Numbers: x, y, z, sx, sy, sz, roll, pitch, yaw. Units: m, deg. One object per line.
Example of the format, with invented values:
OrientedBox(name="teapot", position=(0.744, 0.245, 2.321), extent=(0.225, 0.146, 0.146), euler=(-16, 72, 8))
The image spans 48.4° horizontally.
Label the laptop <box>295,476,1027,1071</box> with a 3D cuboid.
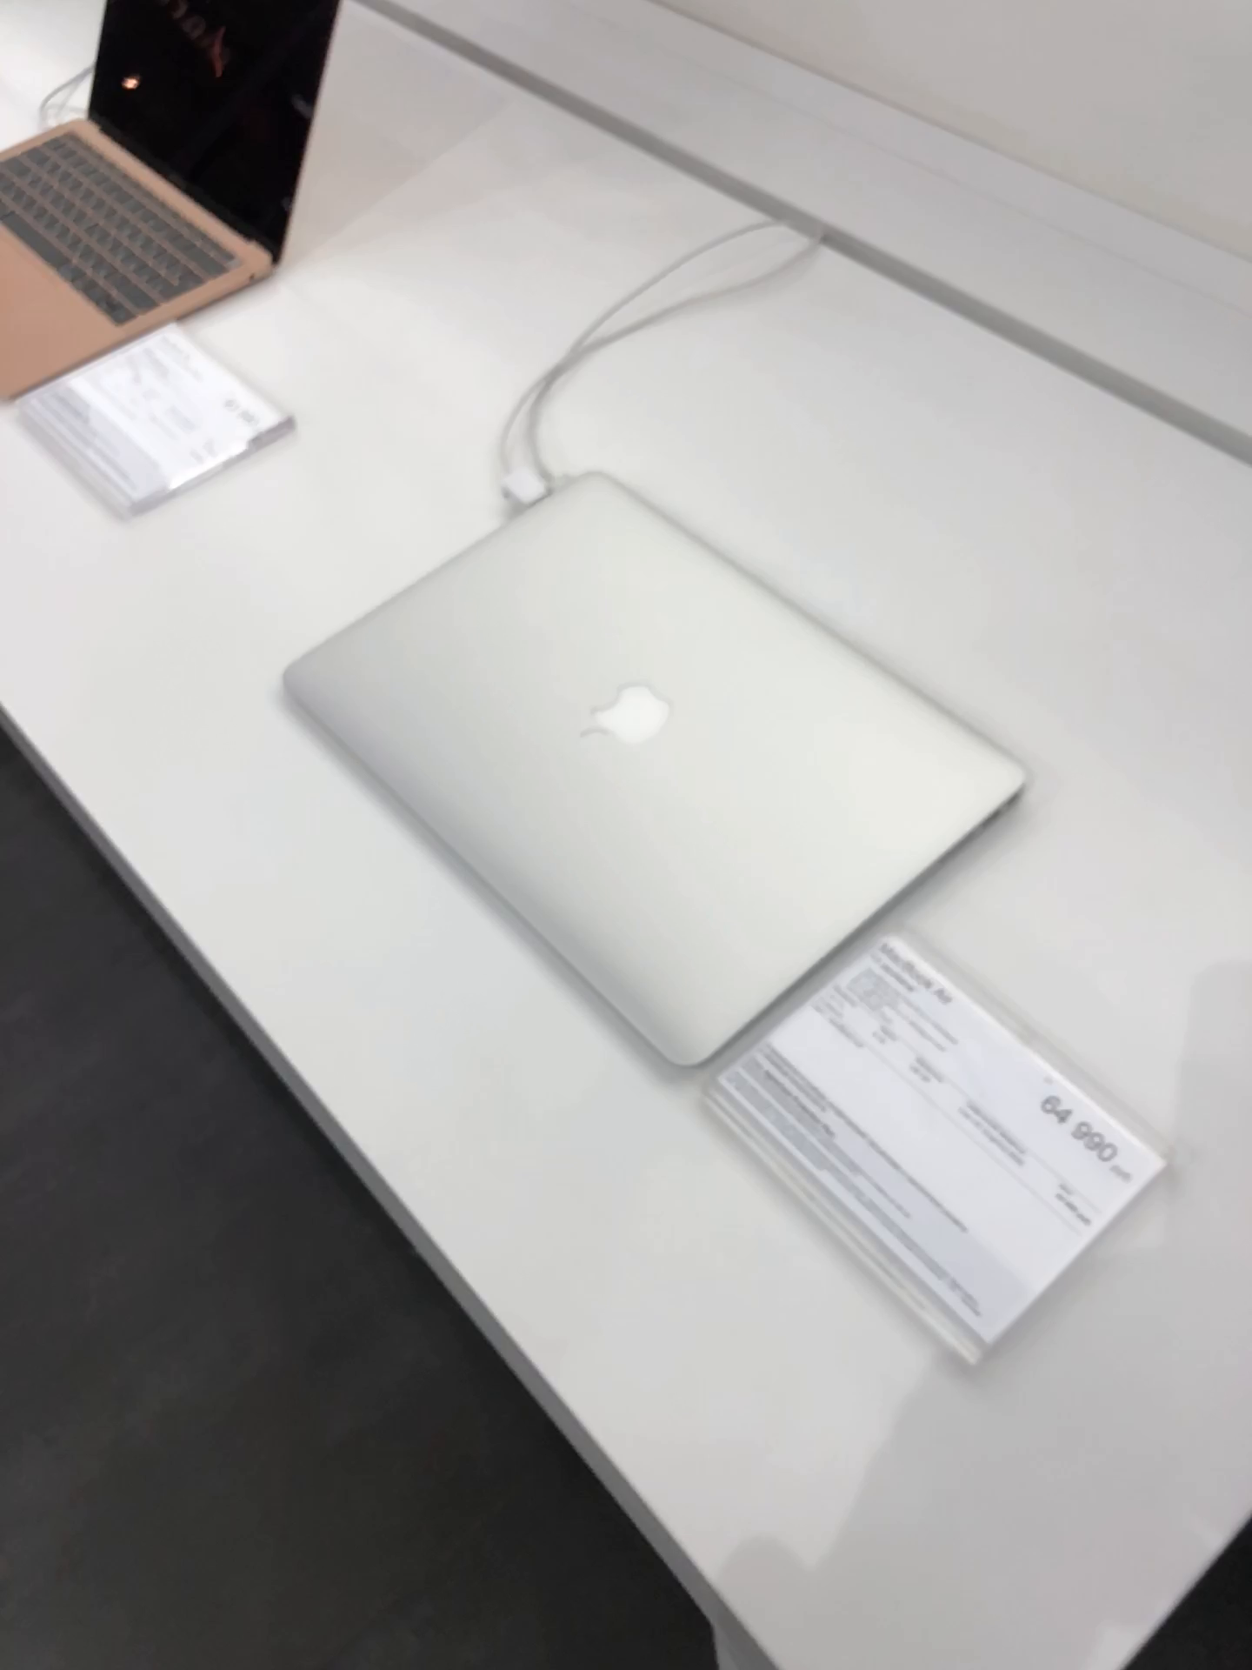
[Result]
OrientedBox(name="laptop", position=(0.006, -0.053, 0.686), extent=(0.209, 0.008, 0.308), euler=(-37, 58, -19))
